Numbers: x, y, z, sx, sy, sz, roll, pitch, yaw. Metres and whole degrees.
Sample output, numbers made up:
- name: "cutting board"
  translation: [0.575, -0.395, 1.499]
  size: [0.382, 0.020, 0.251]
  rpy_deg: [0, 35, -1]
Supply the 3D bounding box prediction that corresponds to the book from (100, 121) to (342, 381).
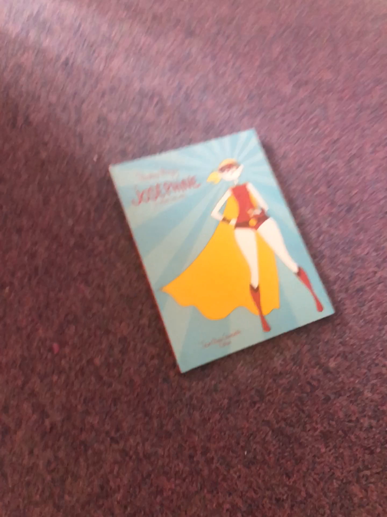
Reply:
- name: "book"
  translation: [0.033, -0.026, 0.583]
  size: [0.234, 0.020, 0.307]
  rpy_deg: [-18, 77, -13]
